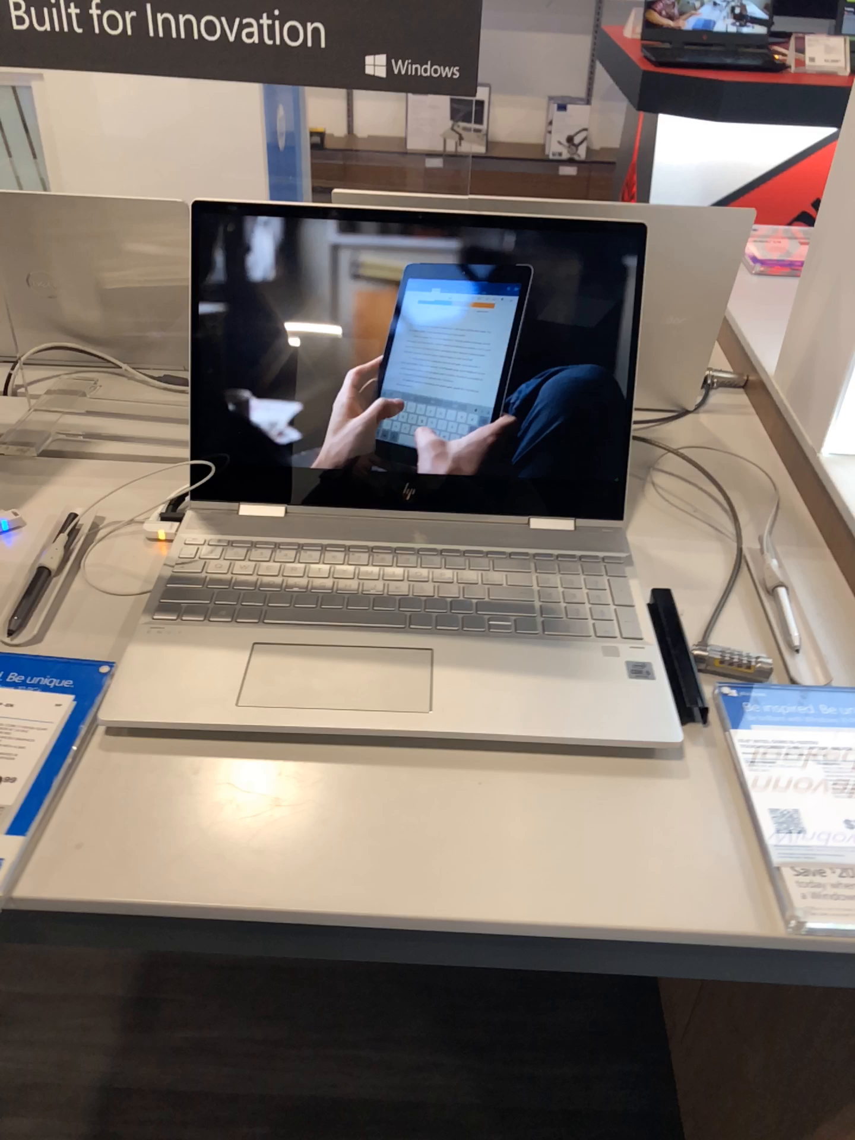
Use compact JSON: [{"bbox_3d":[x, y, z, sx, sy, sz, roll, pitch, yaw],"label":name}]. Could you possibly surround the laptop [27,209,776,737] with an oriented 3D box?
[{"bbox_3d":[-0.011,-0.091,0.655,0.358,0.210,0.355,2,35,0],"label":"laptop"}]
